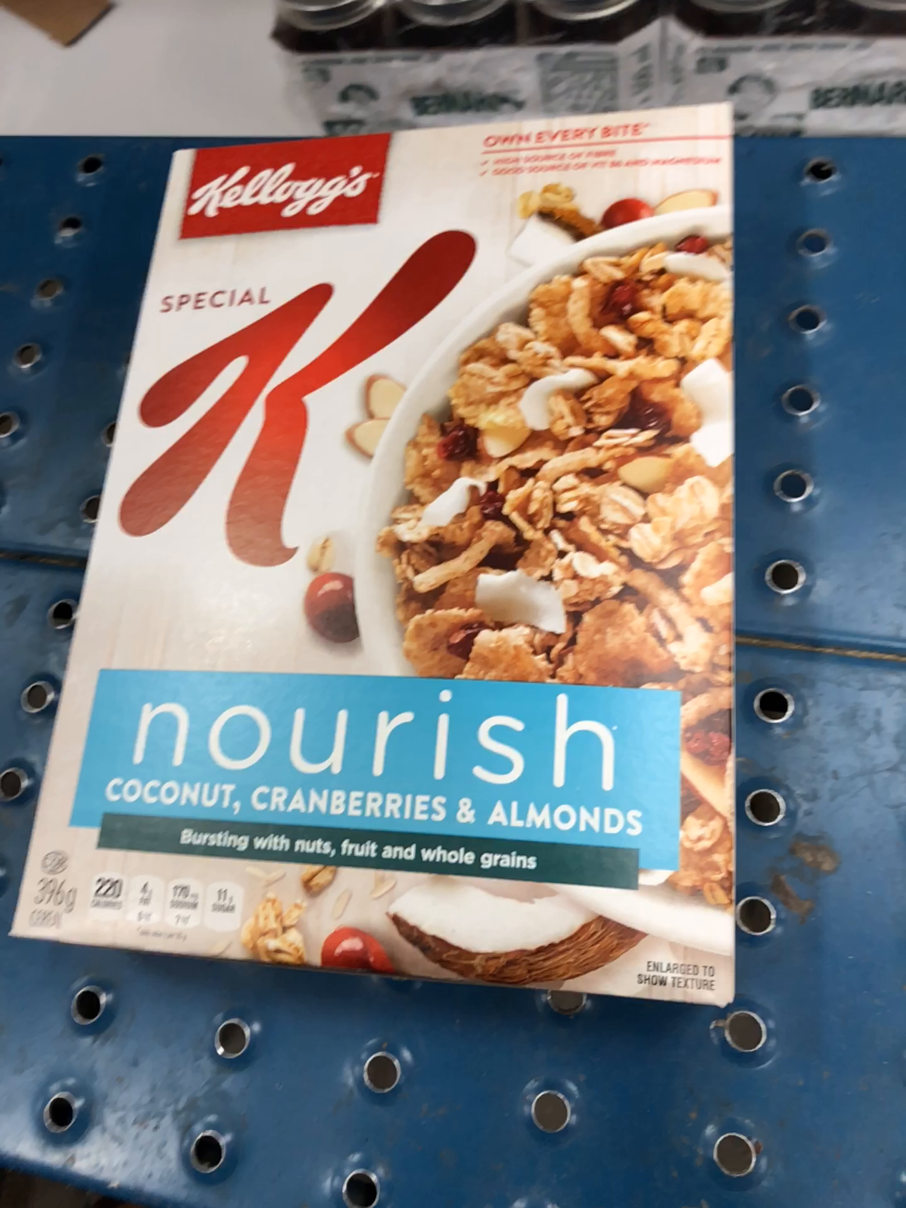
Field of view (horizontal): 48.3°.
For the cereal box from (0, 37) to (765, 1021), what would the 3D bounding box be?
[{"bbox_3d":[-0.016,-0.035,0.321,0.210,0.050,0.290,1,72,12],"label":"cereal box"}]
